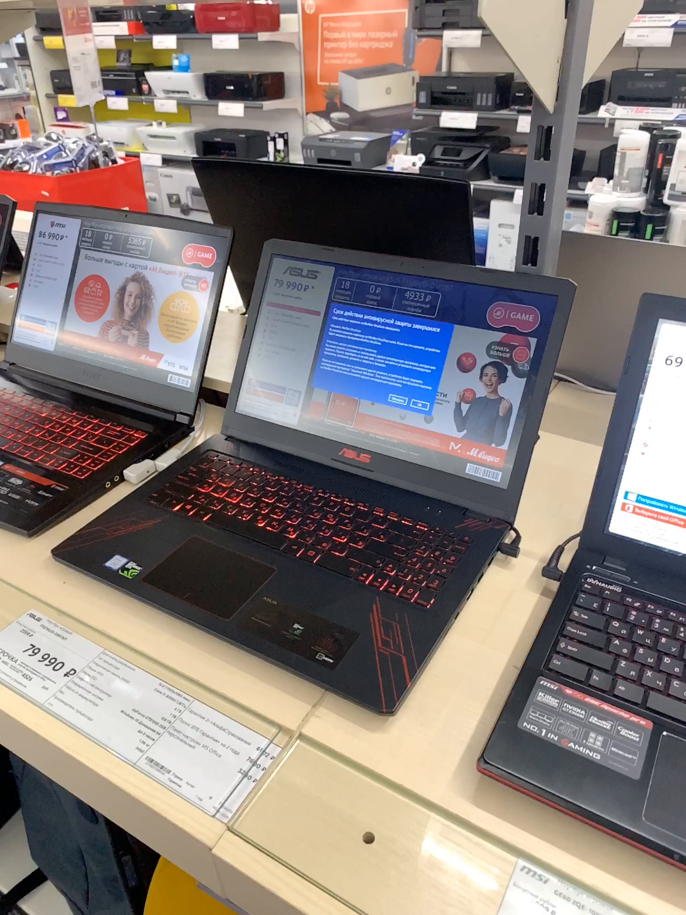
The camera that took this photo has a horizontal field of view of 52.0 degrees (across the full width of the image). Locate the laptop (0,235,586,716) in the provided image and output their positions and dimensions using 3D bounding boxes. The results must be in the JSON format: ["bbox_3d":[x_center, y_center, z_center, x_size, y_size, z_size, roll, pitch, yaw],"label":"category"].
[{"bbox_3d":[-0.024,-0.042,0.663,0.365,0.199,0.384,16,37,28],"label":"laptop"}]

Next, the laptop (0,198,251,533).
[{"bbox_3d":[-0.366,-0.143,0.833,0.339,0.209,0.354,17,37,26],"label":"laptop"}]
